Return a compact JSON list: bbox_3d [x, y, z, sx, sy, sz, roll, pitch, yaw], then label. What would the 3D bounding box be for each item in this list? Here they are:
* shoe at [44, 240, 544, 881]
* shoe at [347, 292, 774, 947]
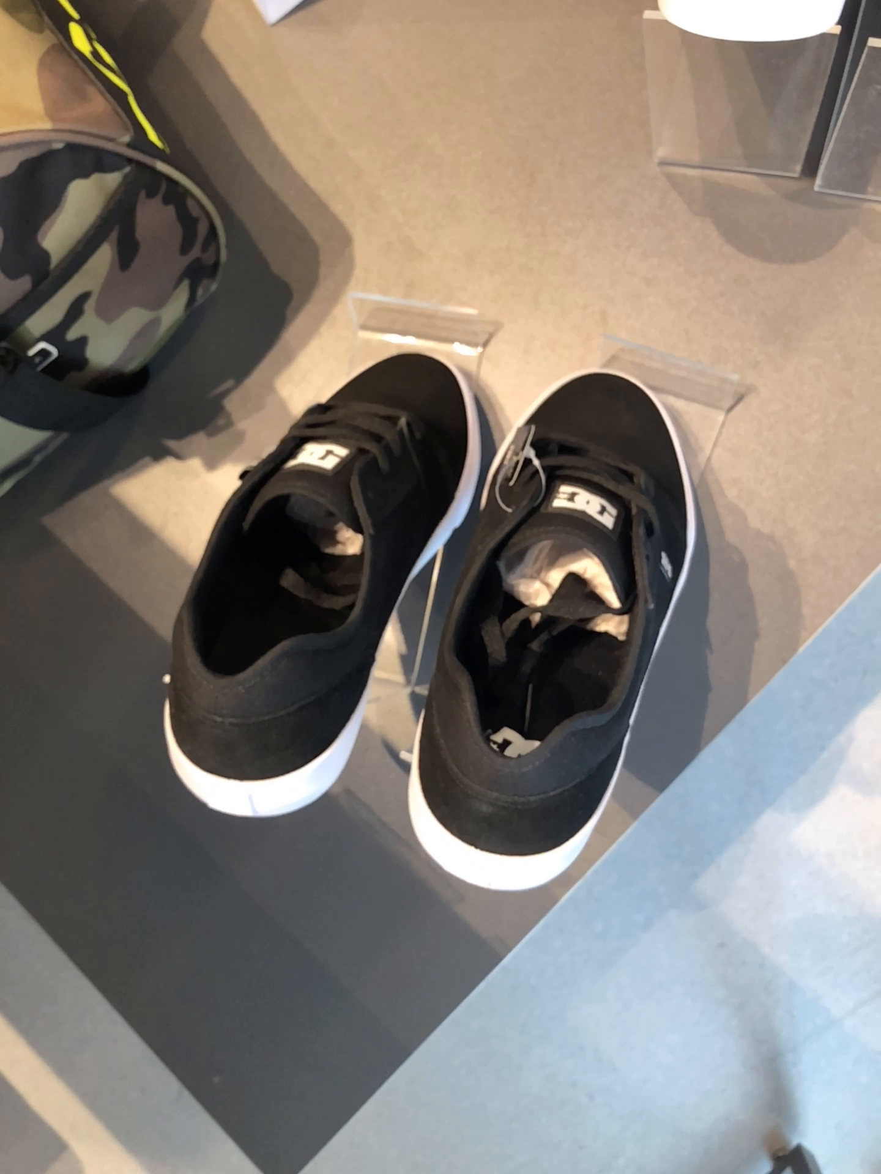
[{"bbox_3d":[-0.040,-0.021,0.404,0.106,0.107,0.229,14,55,9],"label":"shoe"},{"bbox_3d":[0.054,0.004,0.403,0.106,0.107,0.229,16,55,8],"label":"shoe"}]
